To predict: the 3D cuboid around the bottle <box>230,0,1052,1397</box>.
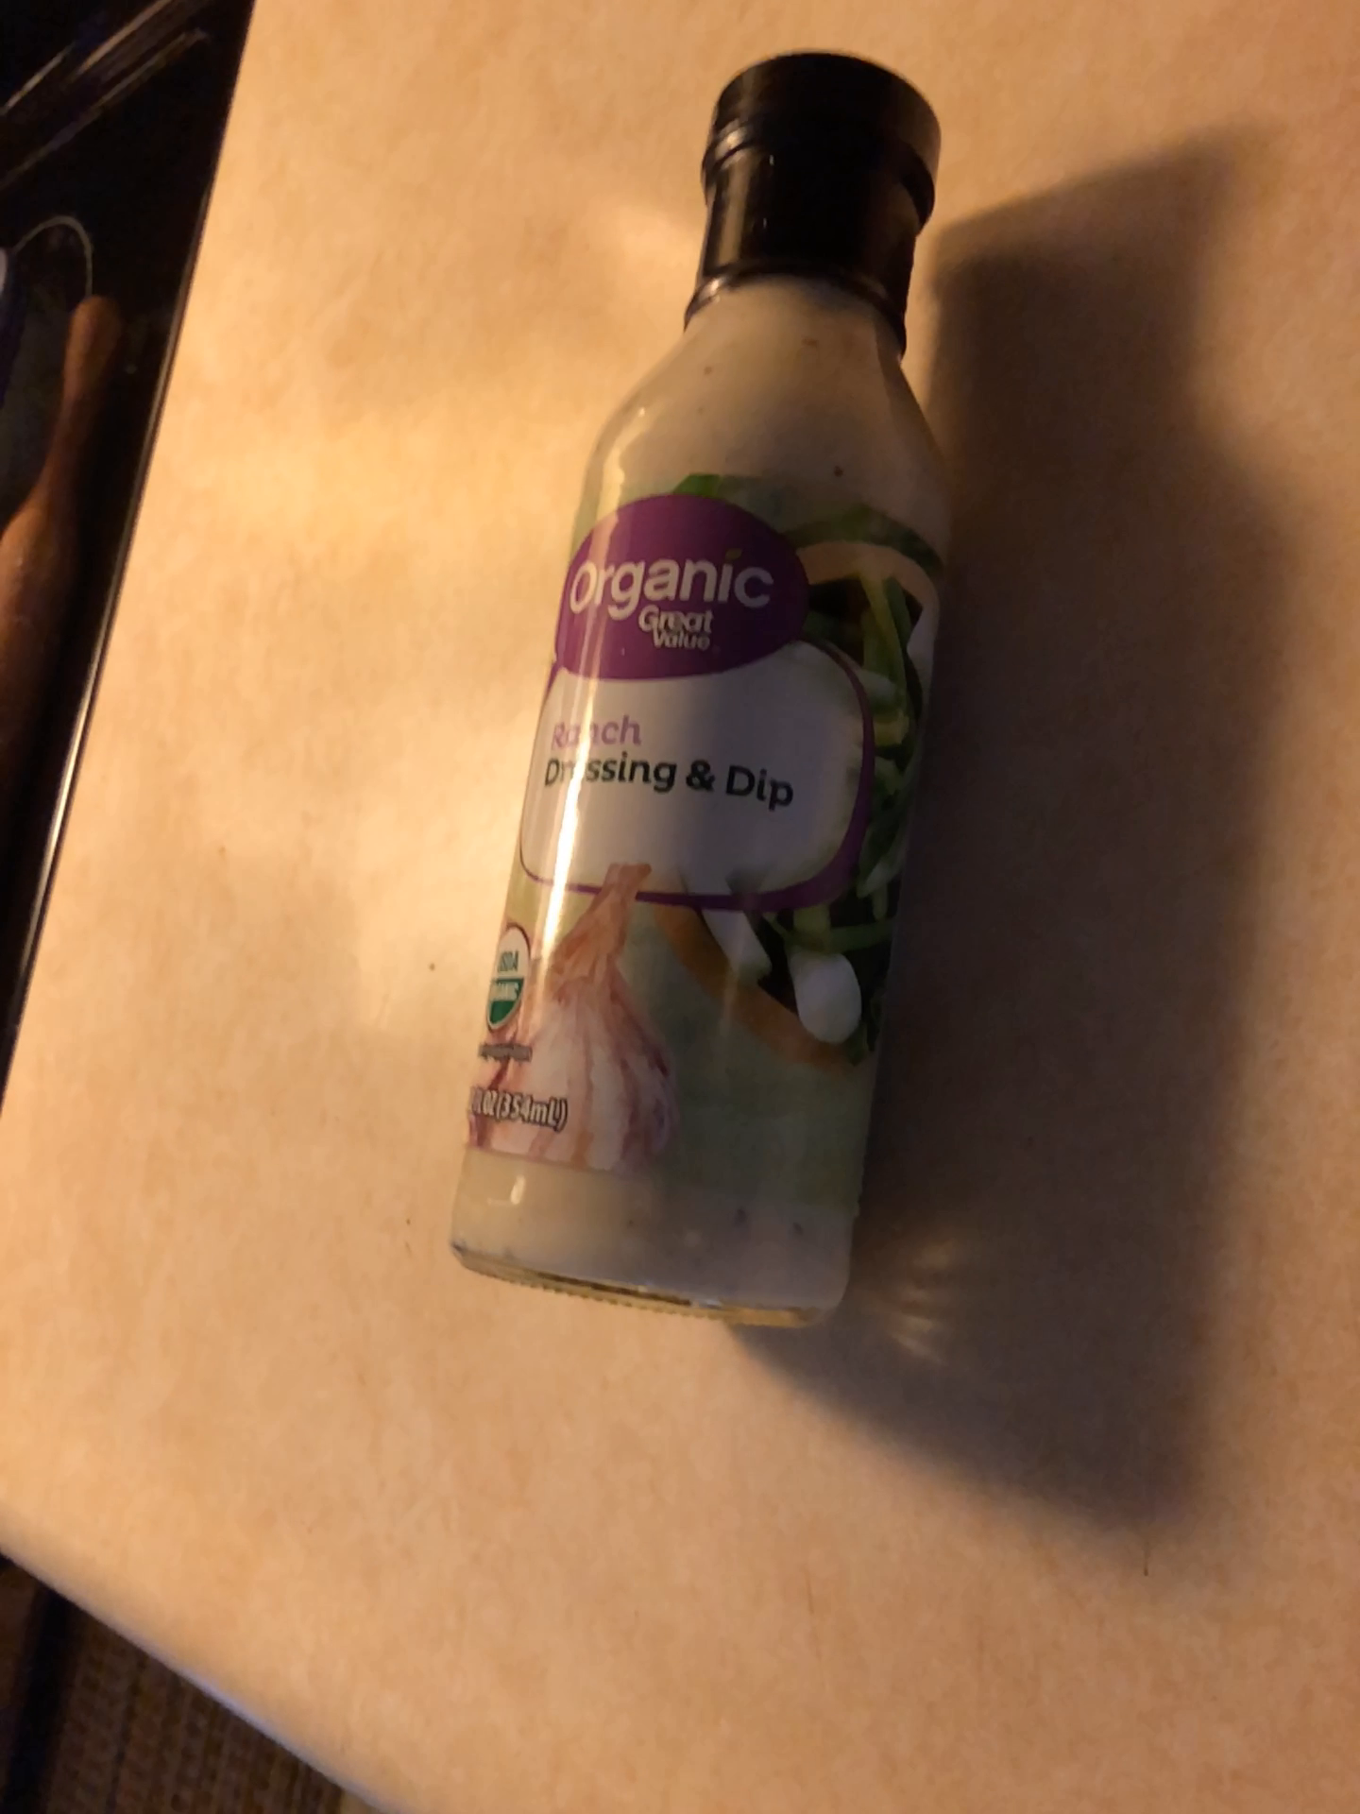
[{"bbox_3d":[0.001,-0.046,0.250,0.070,0.060,0.230,2,74,35],"label":"bottle"}]
